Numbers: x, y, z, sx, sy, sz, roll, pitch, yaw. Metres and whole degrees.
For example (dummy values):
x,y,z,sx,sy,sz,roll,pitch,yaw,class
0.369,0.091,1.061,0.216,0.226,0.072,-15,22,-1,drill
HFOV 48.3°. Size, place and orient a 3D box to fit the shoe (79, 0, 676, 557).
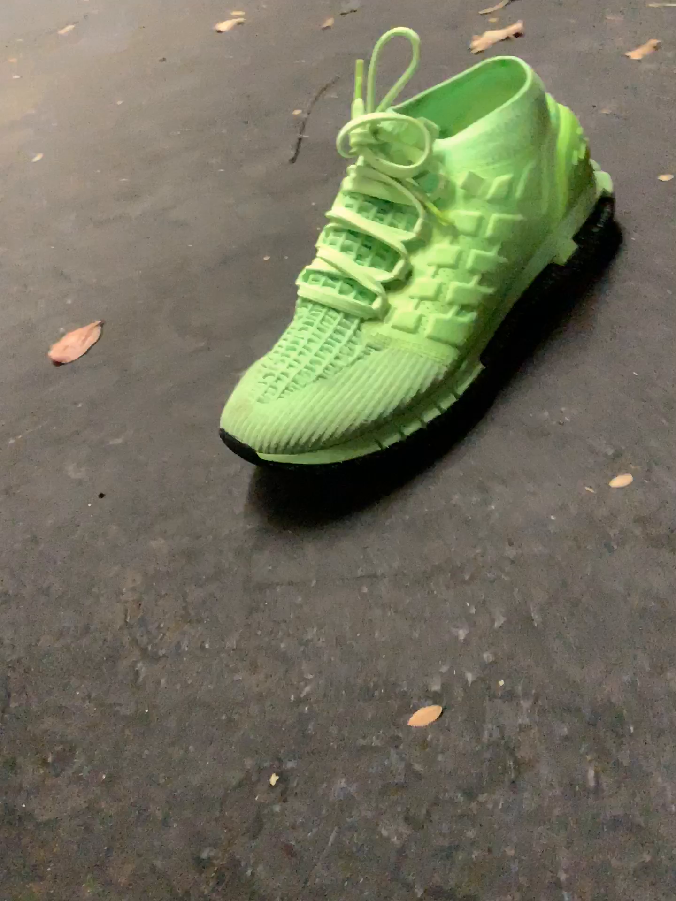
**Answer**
x,y,z,sx,sy,sz,roll,pitch,yaw,class
0.051,-0.116,0.428,0.320,0.150,0.130,-36,49,-12,shoe
